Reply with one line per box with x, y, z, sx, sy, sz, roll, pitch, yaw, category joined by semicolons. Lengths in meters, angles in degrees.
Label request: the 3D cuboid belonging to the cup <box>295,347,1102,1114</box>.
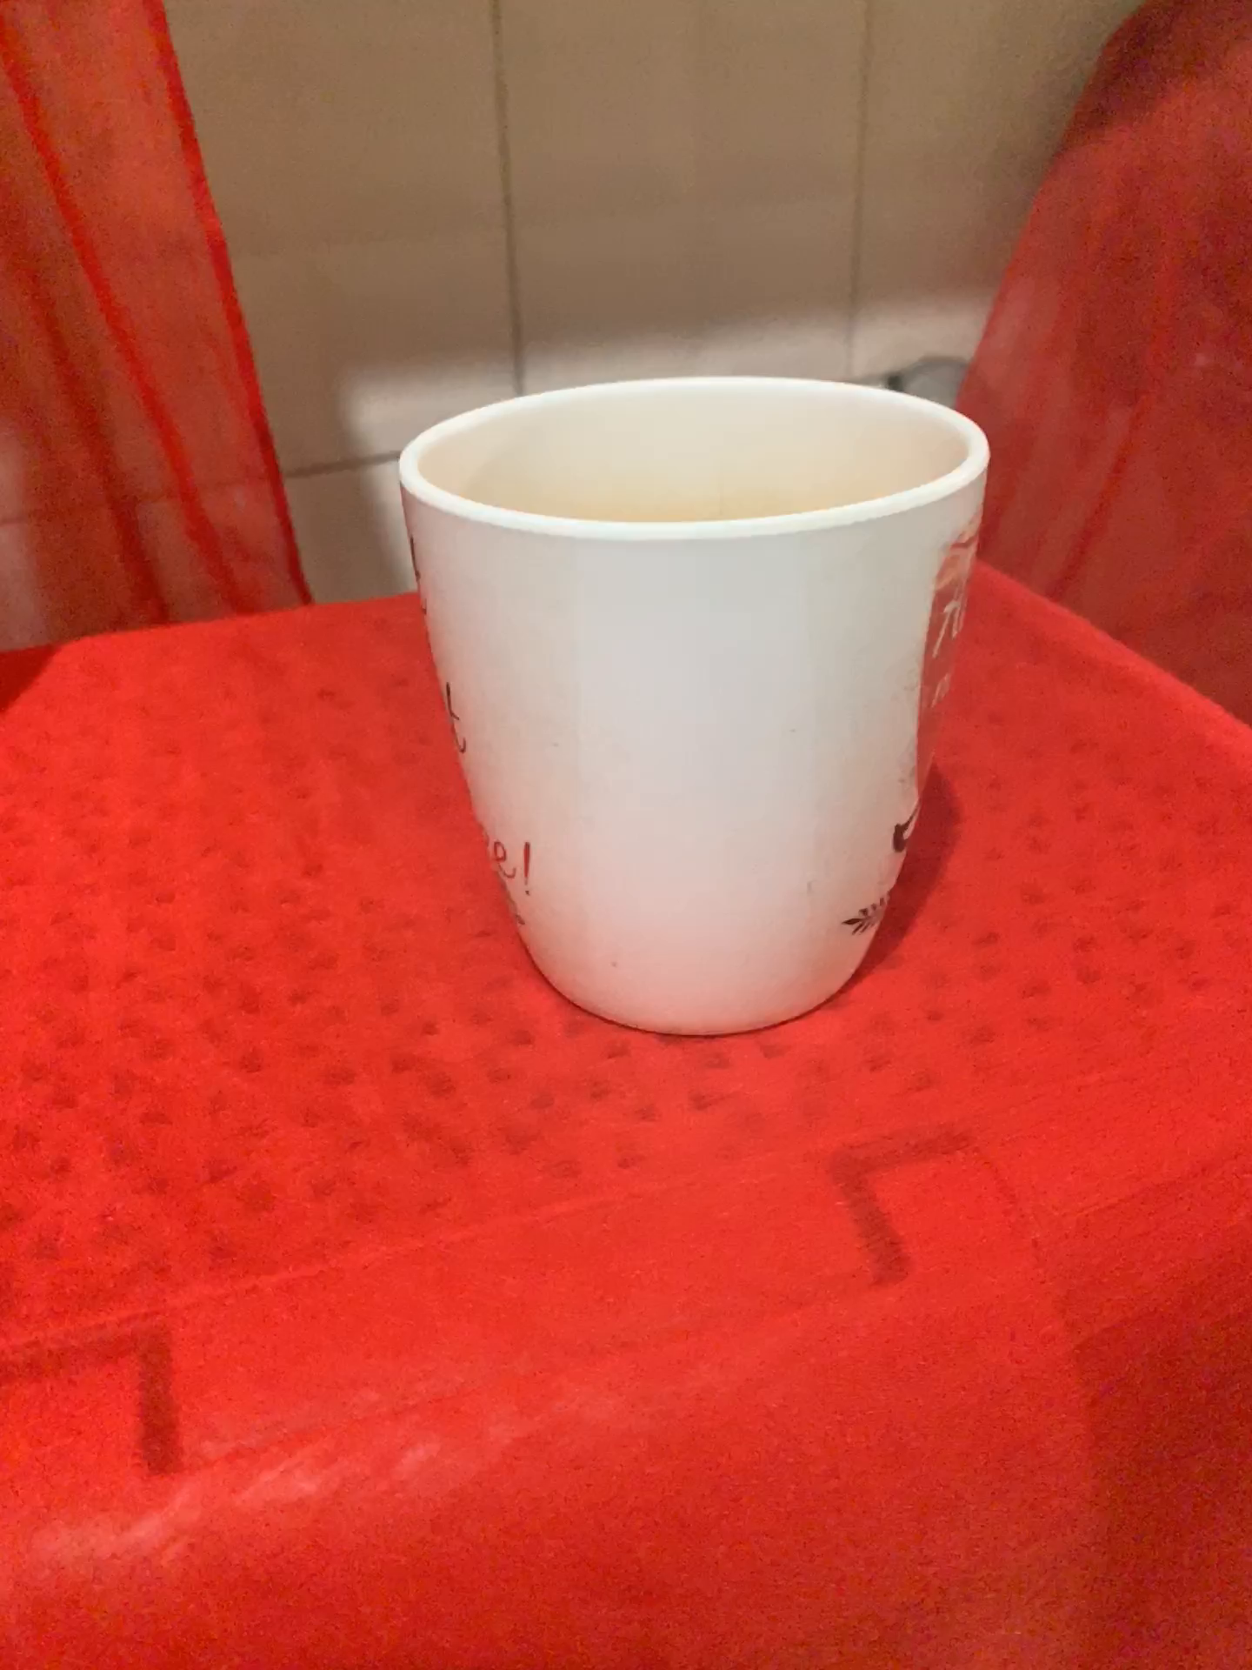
0.014;-0.026;0.214;0.090;0.079;0.111;2;31;7;cup
